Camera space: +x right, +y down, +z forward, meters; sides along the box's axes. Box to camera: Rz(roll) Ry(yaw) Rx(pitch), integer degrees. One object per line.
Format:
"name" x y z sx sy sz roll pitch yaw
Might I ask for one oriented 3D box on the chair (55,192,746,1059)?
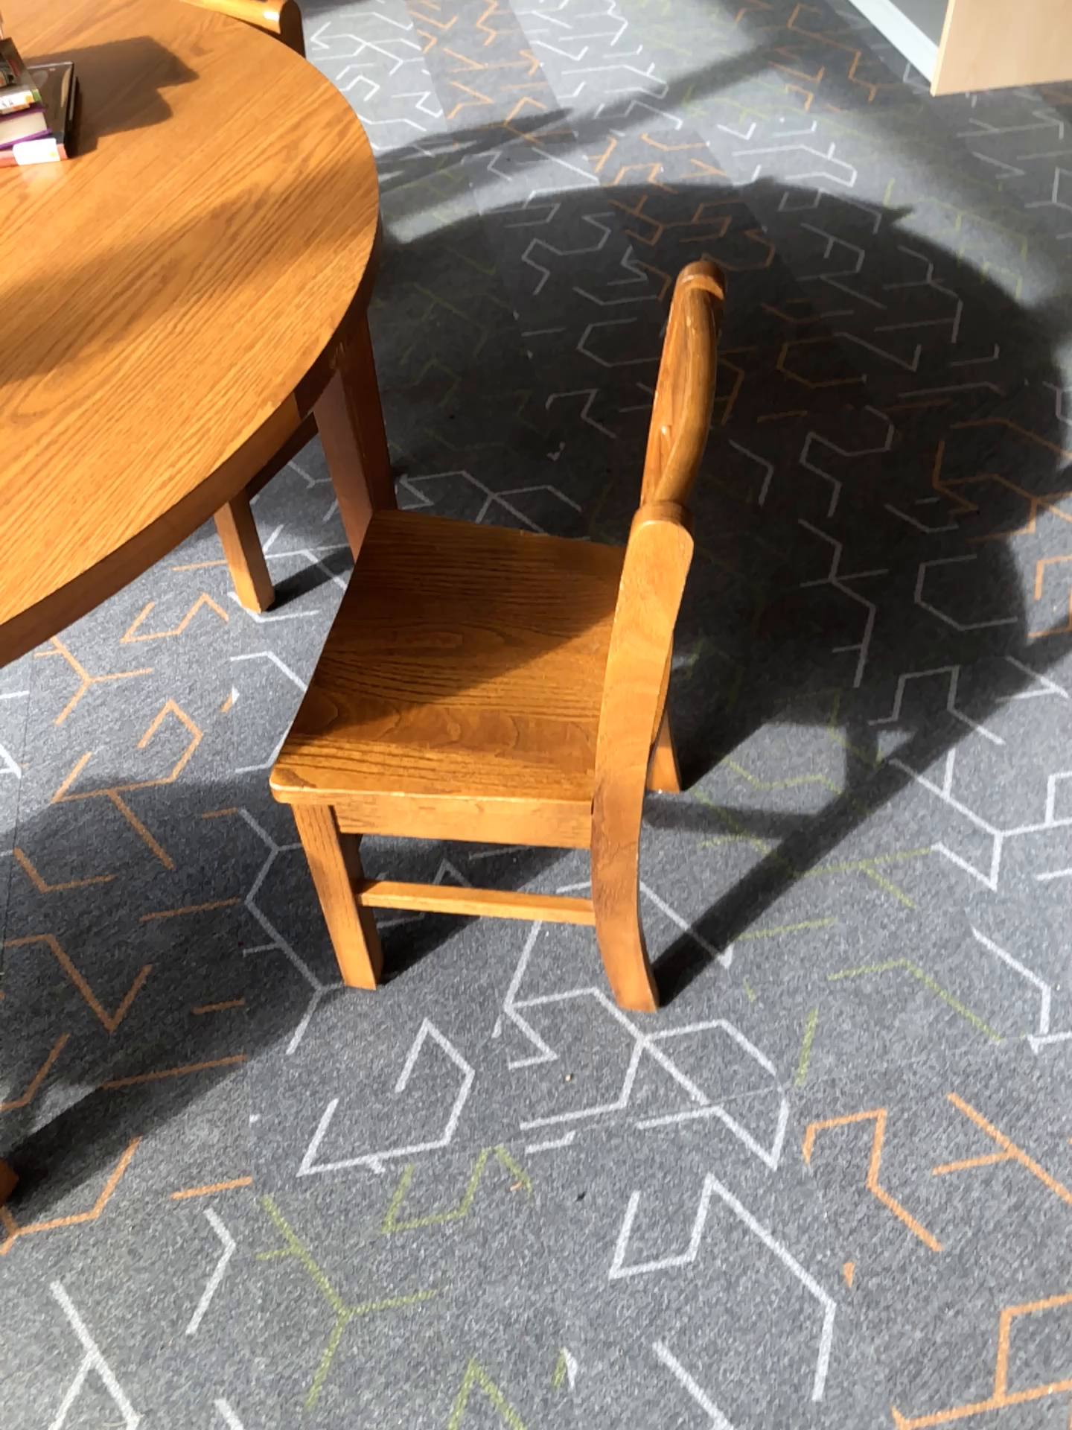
"chair" -0.051 -0.036 1.031 0.390 0.666 0.372 5 50 6
